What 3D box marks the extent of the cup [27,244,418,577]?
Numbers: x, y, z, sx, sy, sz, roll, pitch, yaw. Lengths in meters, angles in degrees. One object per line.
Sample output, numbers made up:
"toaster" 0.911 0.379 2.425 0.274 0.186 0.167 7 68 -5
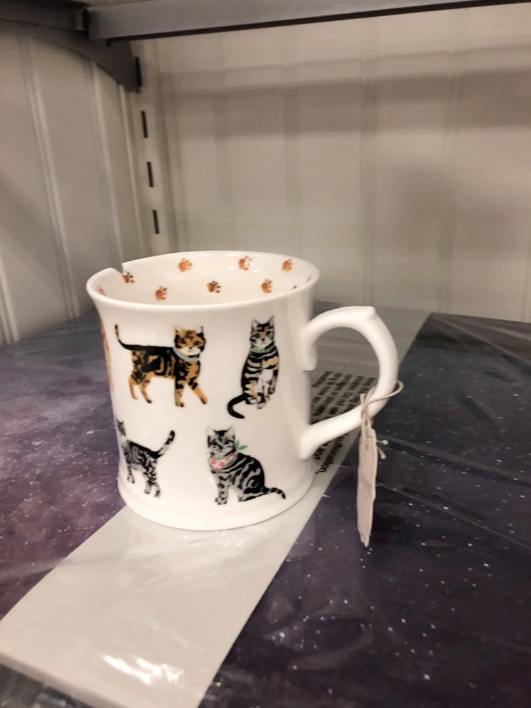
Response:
"cup" -0.010 0.012 0.267 0.137 0.099 0.096 6 24 21
